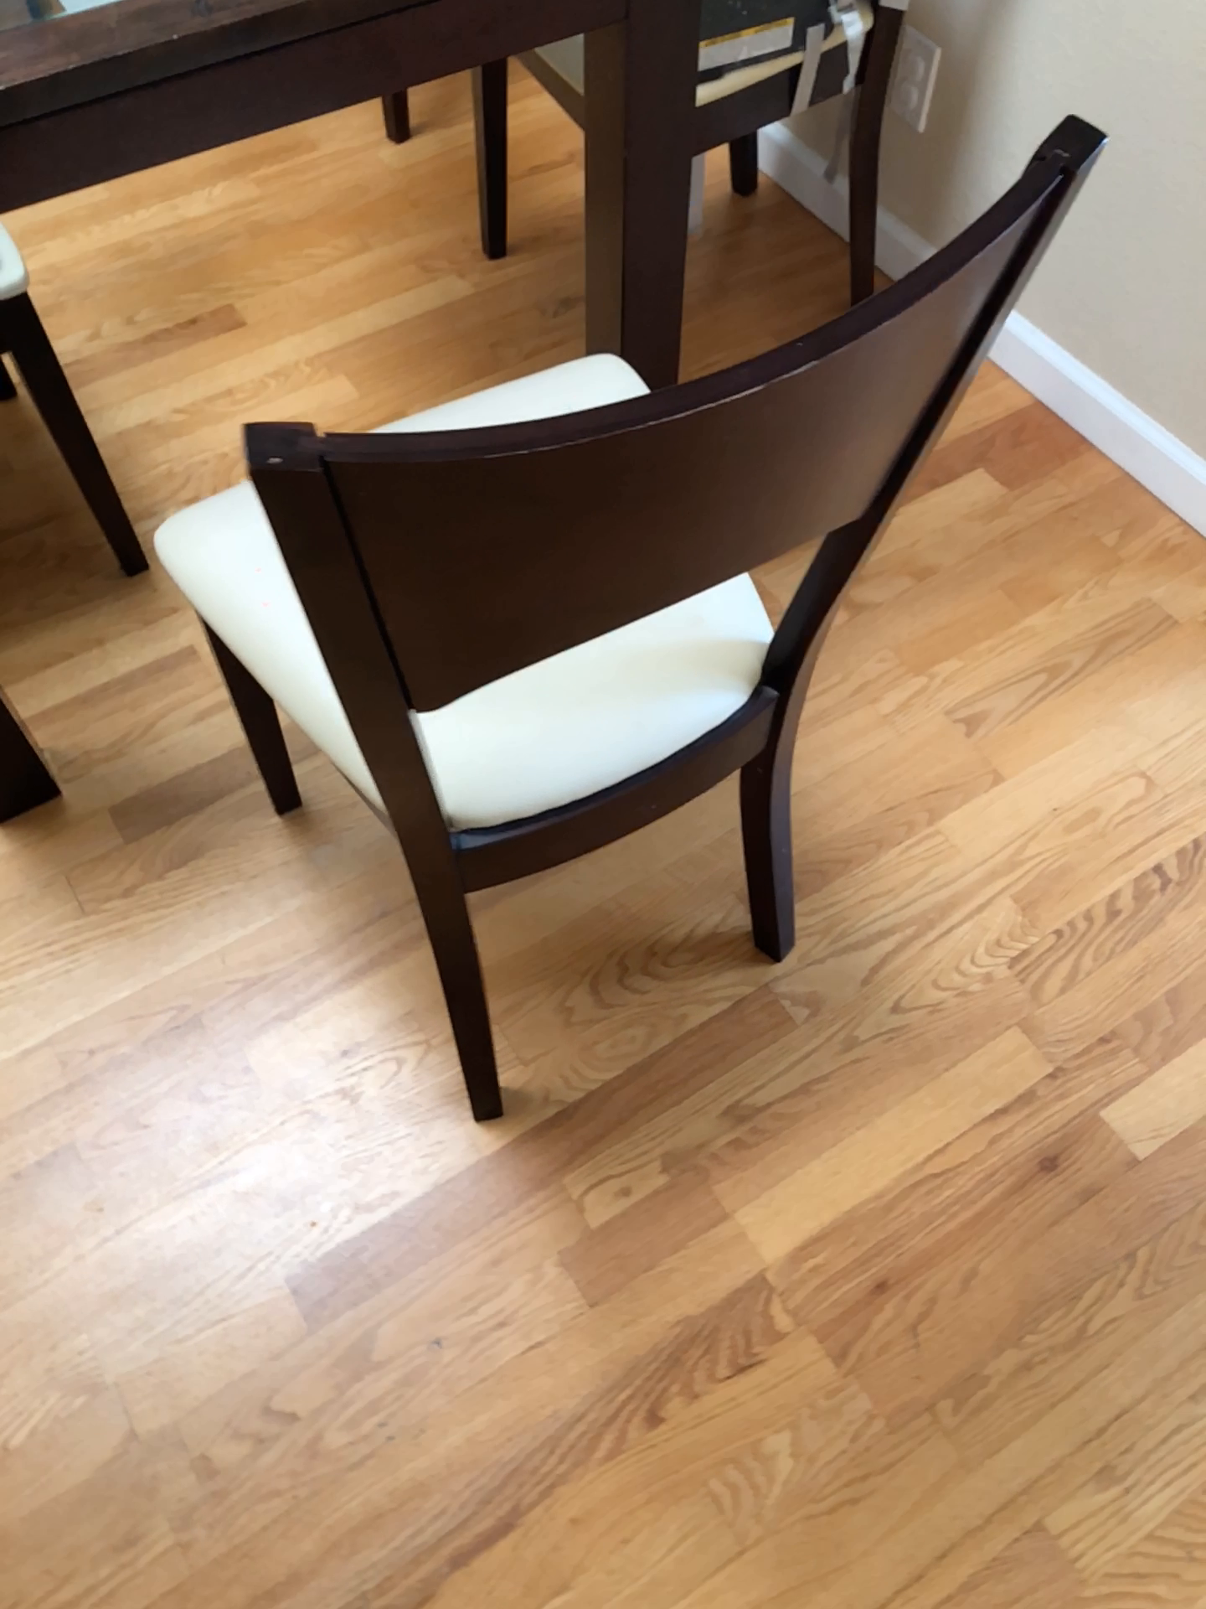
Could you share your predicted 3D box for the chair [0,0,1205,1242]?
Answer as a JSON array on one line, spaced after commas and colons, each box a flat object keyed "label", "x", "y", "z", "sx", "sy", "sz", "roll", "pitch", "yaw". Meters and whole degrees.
[{"label": "chair", "x": -0.013, "y": -0.158, "z": 1.143, "sx": 0.561, "sy": 0.996, "sz": 0.592, "roll": -25, "pitch": 60, "yaw": -16}]
